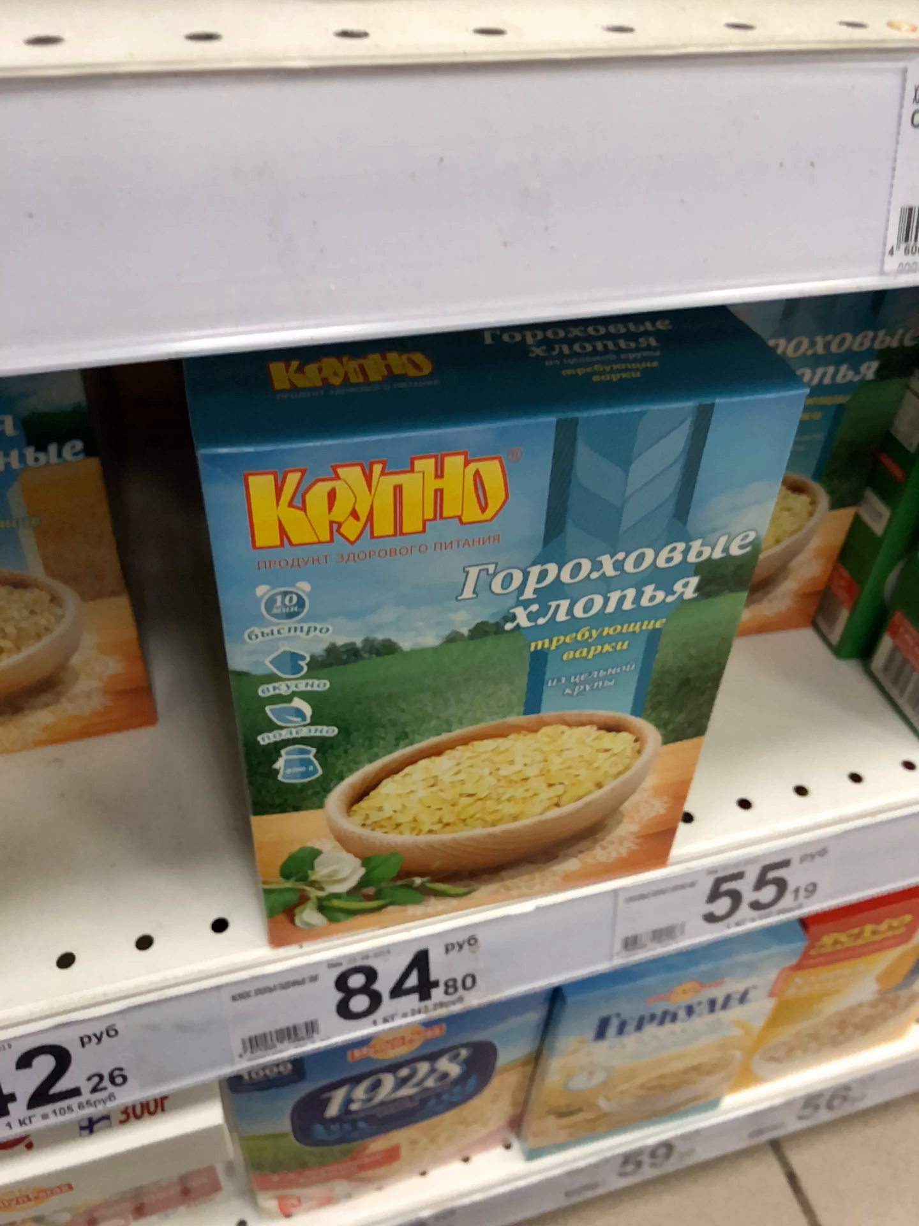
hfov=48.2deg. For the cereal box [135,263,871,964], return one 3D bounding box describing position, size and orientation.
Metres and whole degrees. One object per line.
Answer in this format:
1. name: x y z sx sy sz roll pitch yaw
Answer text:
1. cereal box: 0.006 0.010 0.300 0.160 0.199 0.050 -9 43 -13
